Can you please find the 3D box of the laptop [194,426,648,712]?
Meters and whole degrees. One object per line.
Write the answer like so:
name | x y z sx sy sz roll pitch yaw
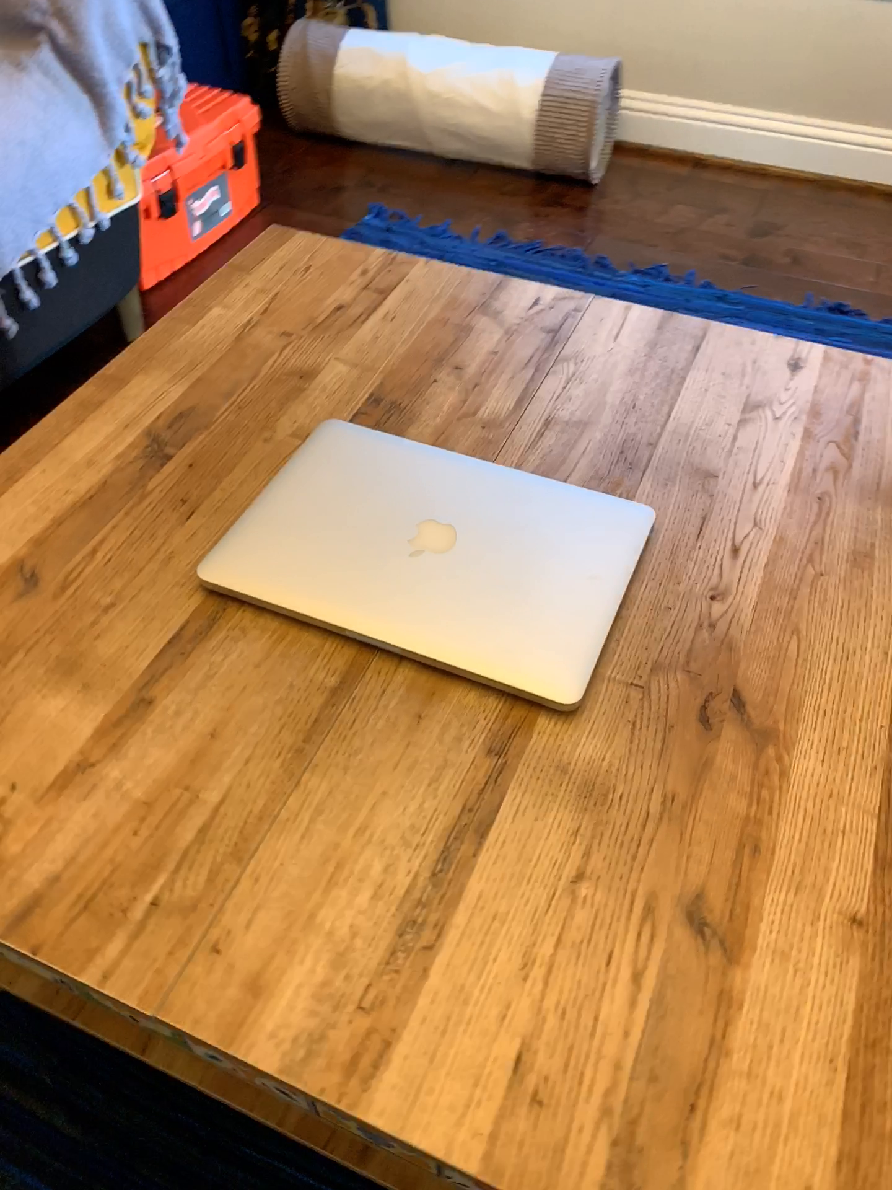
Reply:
laptop | -0.014 -0.036 0.719 0.298 0.002 0.208 18 51 15
